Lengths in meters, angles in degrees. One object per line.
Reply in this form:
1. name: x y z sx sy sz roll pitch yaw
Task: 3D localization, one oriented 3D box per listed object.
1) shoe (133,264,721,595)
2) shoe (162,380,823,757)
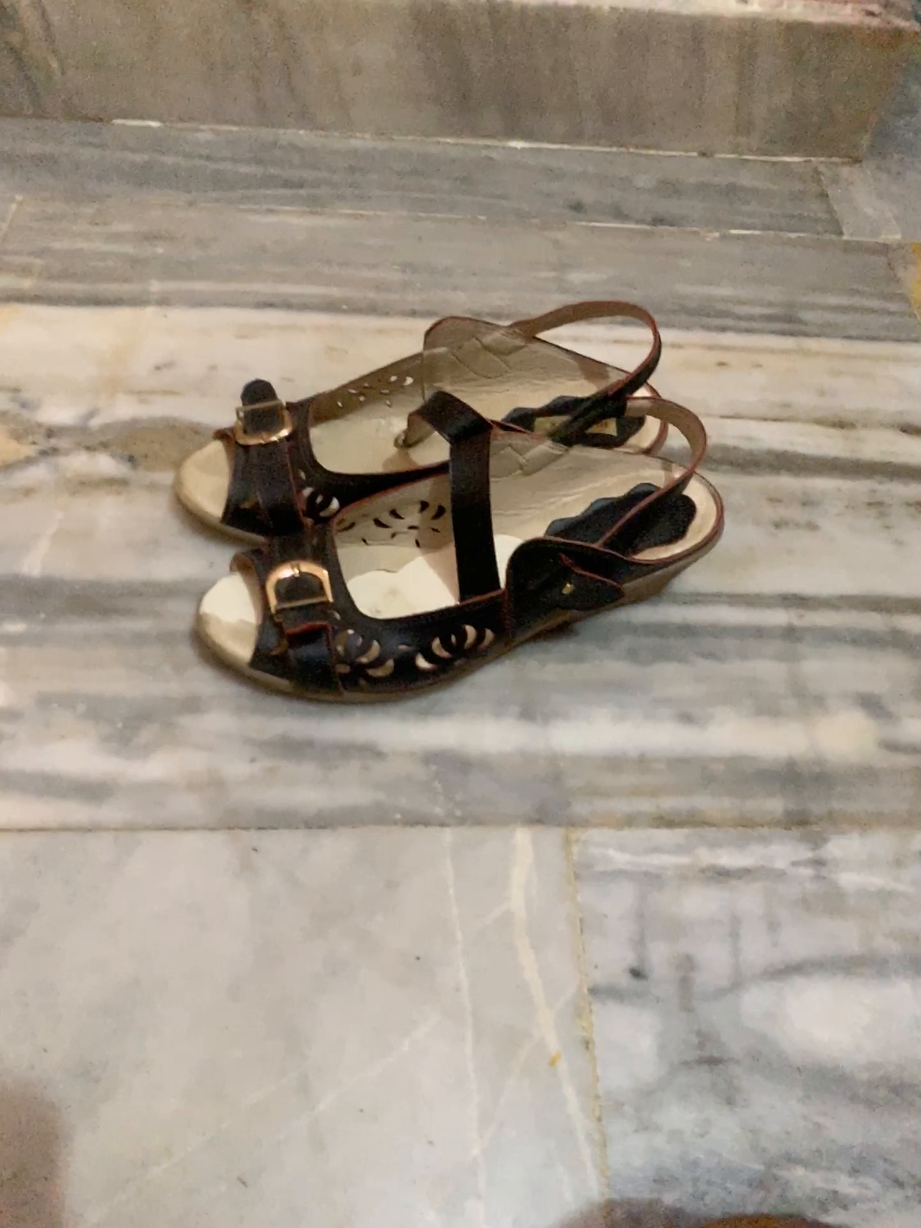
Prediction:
1. shoe: -0.021 -0.097 0.481 0.260 0.100 0.100 -8 55 -12
2. shoe: 0.008 -0.024 0.432 0.260 0.100 0.100 -8 55 -12
